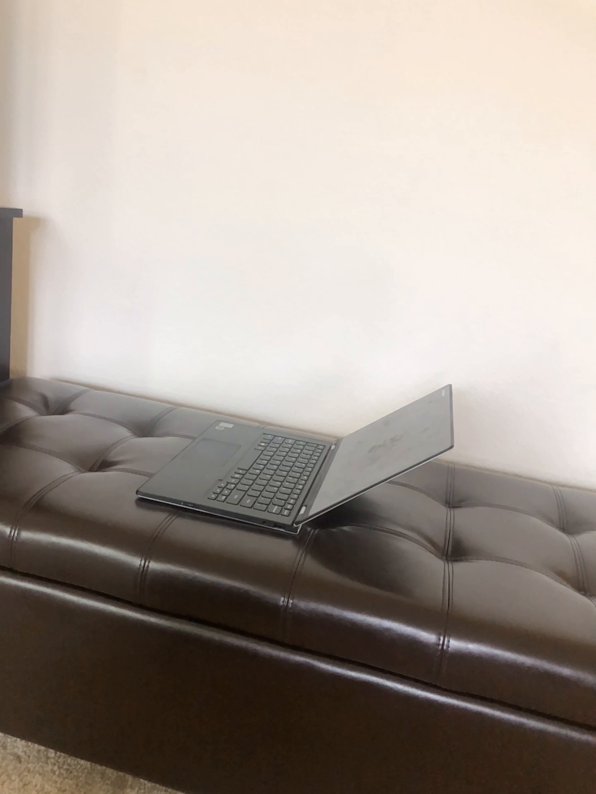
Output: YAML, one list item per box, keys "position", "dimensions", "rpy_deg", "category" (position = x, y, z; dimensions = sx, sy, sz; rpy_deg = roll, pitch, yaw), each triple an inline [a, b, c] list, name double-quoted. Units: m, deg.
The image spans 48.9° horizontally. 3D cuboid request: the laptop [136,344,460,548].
- position: [0.017, 0.037, 0.781]
  dimensions: [0.317, 0.115, 0.262]
  rpy_deg: [9, 16, 10]
  category: "laptop"
